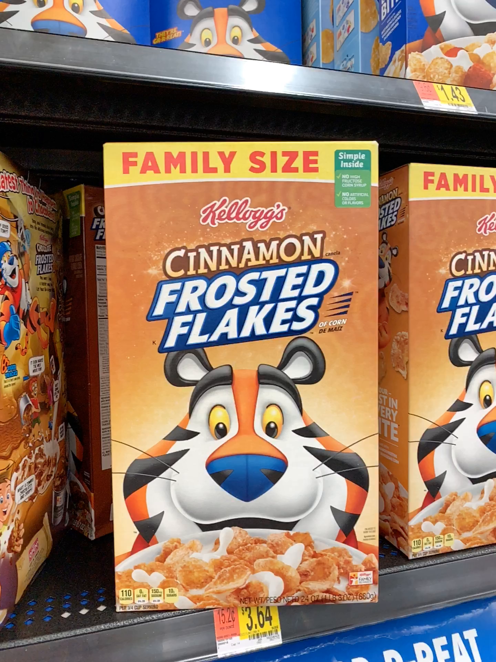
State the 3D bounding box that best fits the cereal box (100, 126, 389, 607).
[{"bbox_3d":[-0.002,0.026,0.405,0.200,0.340,0.080,-1,1,0],"label":"cereal box"}]
